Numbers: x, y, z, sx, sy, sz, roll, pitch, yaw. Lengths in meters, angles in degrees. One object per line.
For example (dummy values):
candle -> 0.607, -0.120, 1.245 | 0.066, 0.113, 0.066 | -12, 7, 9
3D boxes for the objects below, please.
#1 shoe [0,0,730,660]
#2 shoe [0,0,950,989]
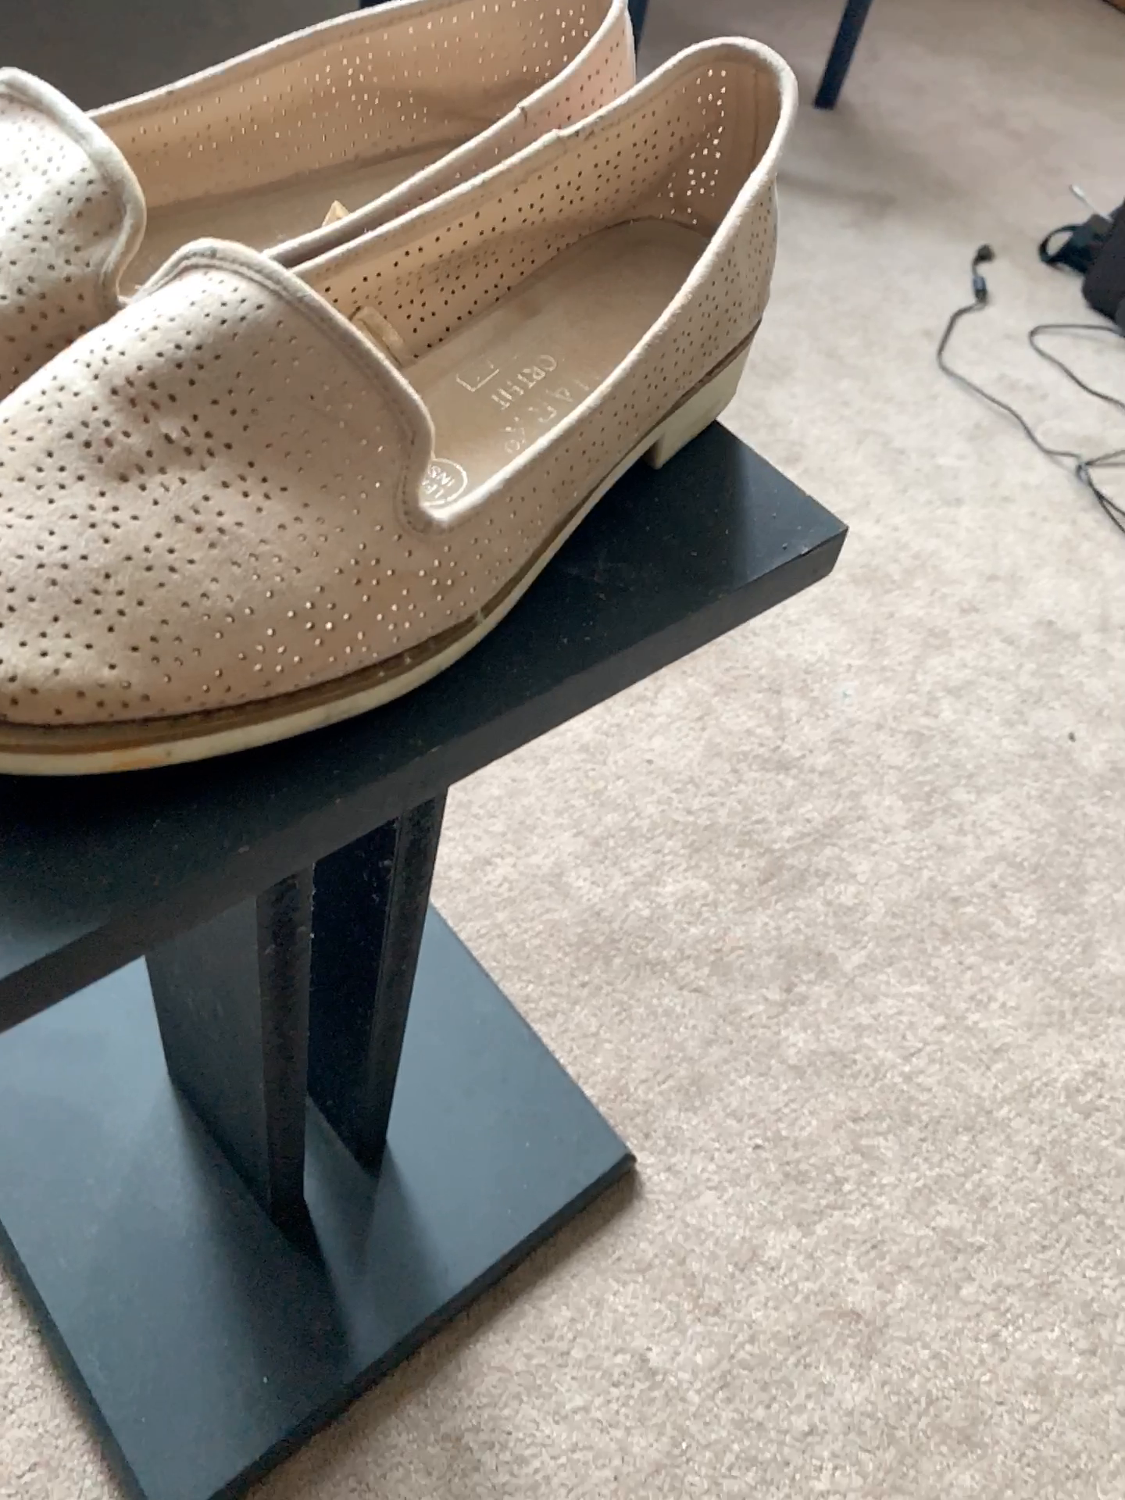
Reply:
shoe -> -0.084, -0.129, 0.297 | 0.251, 0.079, 0.080 | -30, 63, -23
shoe -> -0.028, -0.072, 0.263 | 0.080, 0.079, 0.251 | 40, 64, 19
